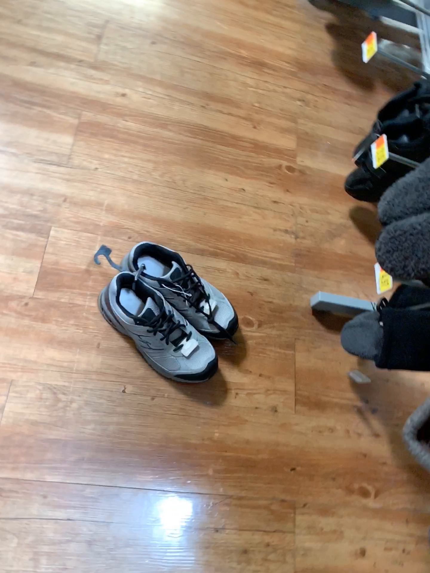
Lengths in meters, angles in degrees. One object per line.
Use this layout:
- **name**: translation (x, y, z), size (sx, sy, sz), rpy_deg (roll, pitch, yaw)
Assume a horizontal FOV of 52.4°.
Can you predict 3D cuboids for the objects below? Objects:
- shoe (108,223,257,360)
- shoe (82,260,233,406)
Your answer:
- **shoe**: translation (-0.076, 0.013, 0.984), size (0.308, 0.099, 0.124), rpy_deg (37, 64, 1)
- **shoe**: translation (-0.125, 0.100, 0.932), size (0.307, 0.089, 0.117), rpy_deg (41, 64, 3)
